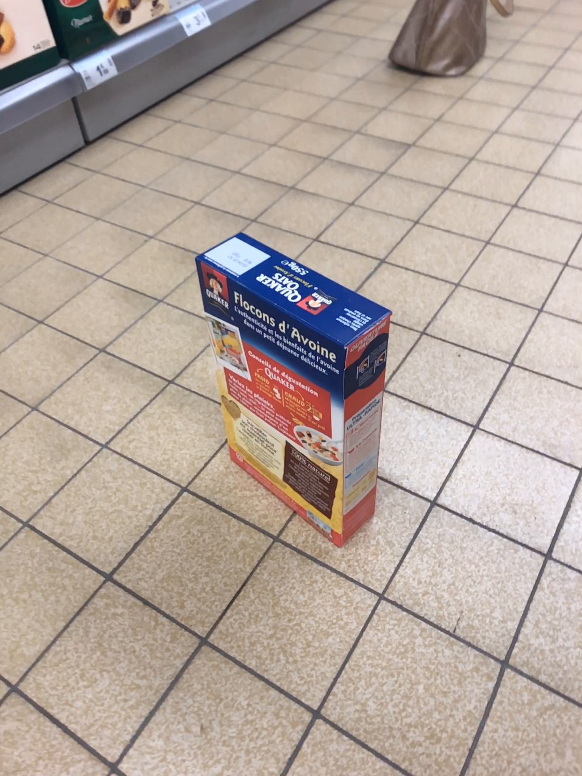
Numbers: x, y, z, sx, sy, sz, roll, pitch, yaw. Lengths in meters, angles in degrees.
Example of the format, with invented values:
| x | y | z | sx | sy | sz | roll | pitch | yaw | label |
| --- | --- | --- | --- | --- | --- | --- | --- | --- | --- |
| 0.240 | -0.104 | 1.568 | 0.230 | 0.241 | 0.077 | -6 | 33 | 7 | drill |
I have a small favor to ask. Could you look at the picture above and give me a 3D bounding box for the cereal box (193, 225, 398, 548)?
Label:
| x | y | z | sx | sy | sz | roll | pitch | yaw | label |
| --- | --- | --- | --- | --- | --- | --- | --- | --- | --- |
| 0.005 | 0.007 | 0.503 | 0.140 | 0.229 | 0.050 | 34 | 57 | 31 | cereal box |
